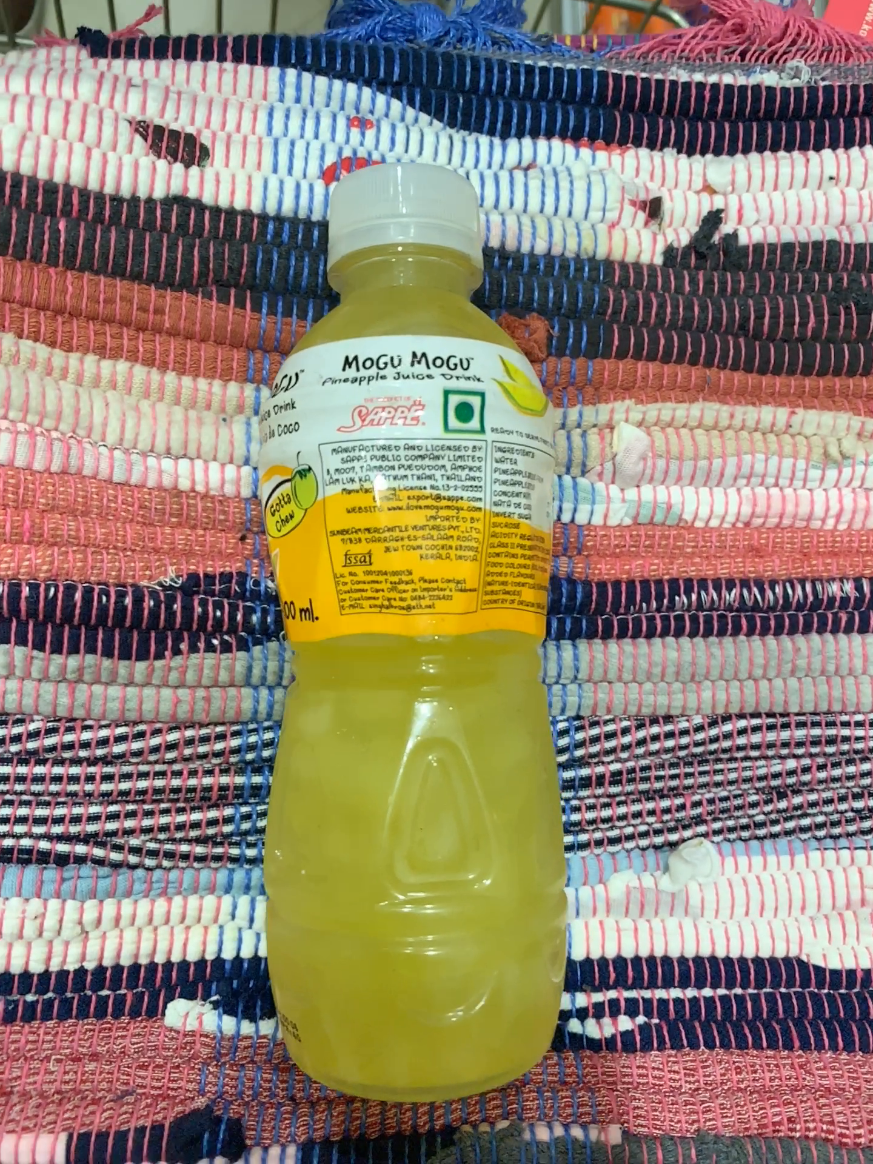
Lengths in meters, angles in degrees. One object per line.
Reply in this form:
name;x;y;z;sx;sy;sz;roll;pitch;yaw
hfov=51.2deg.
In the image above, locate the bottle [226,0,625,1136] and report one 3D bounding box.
bottle;-0.008;-0.008;0.179;0.060;0.050;0.190;-1;82;-10
